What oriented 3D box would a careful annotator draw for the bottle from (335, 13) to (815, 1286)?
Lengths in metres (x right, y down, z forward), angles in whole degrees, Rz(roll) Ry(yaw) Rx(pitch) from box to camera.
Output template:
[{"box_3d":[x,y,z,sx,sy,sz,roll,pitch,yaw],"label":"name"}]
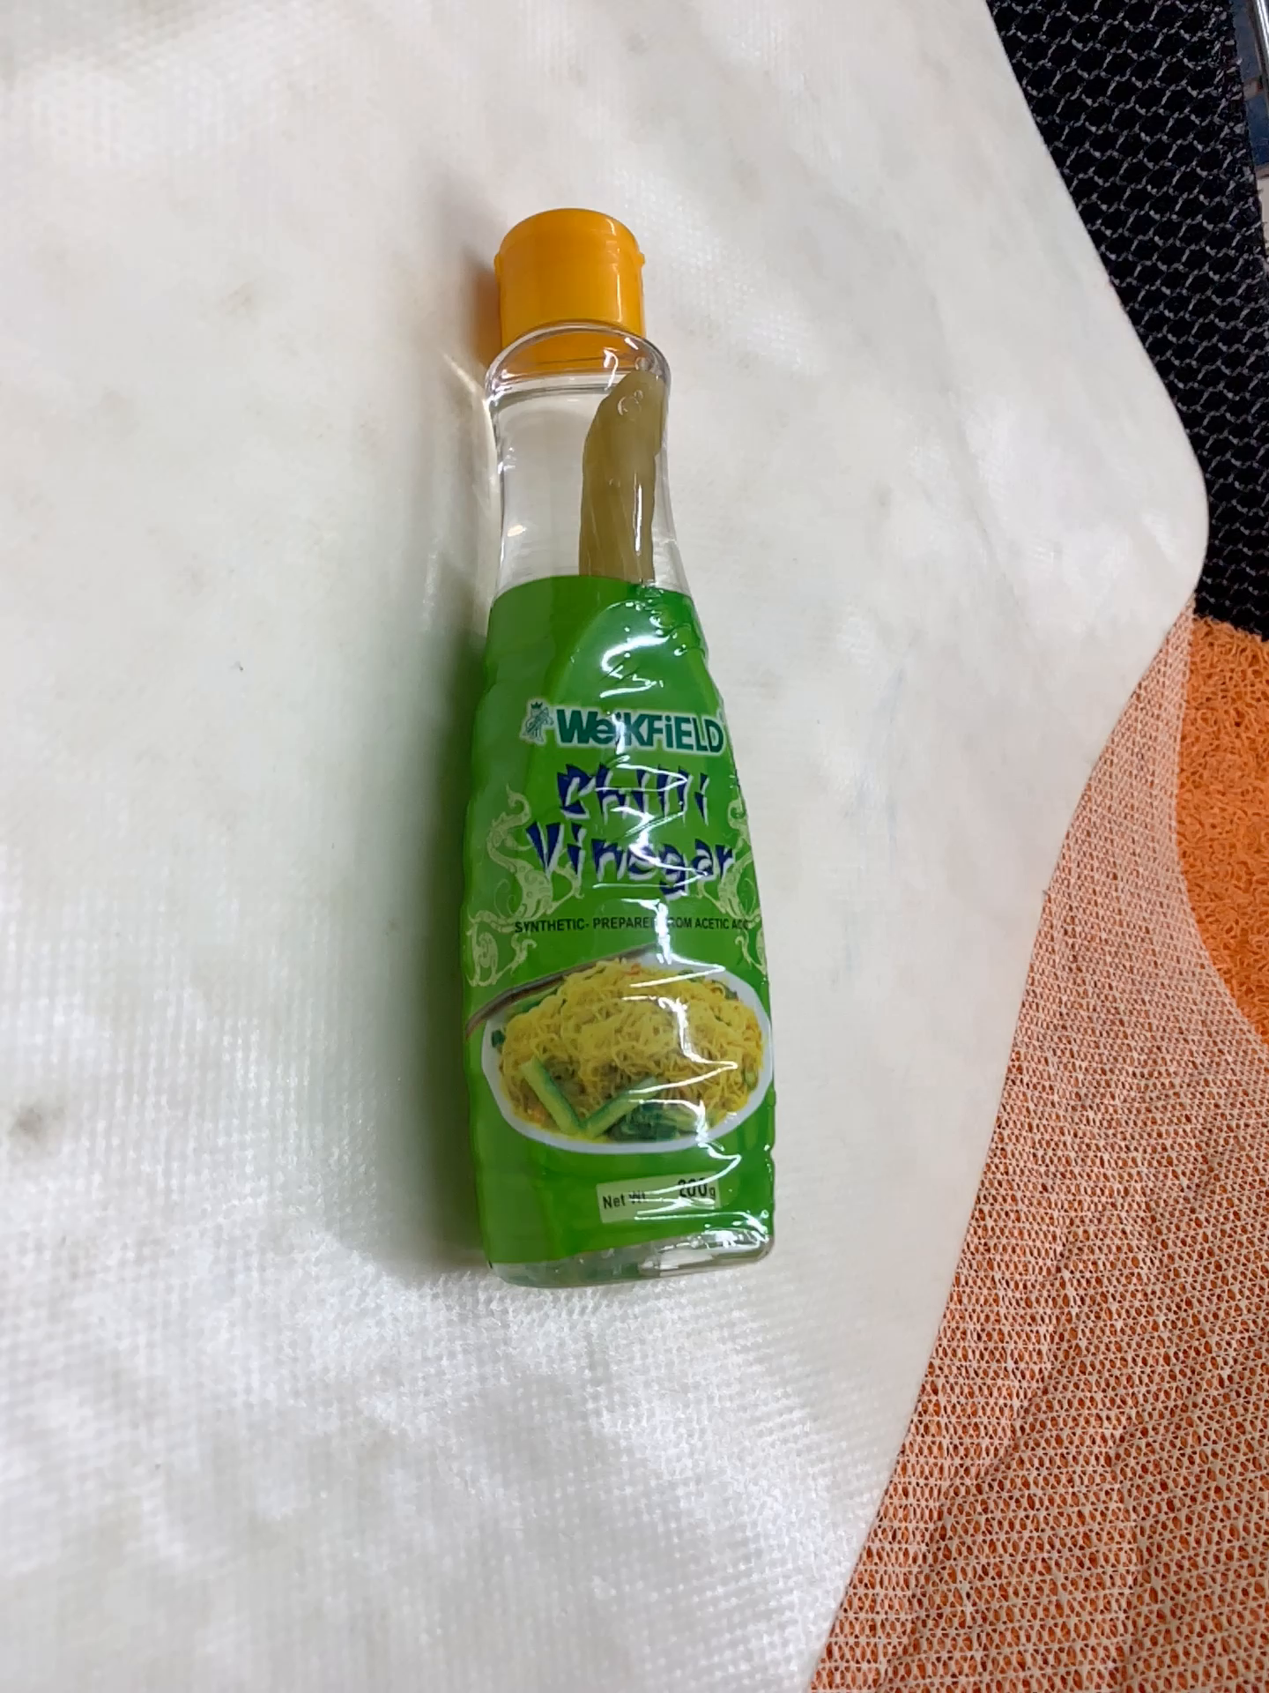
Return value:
[{"box_3d":[-0.012,-0.029,0.213,0.060,0.040,0.180,0,85,-25],"label":"bottle"}]
